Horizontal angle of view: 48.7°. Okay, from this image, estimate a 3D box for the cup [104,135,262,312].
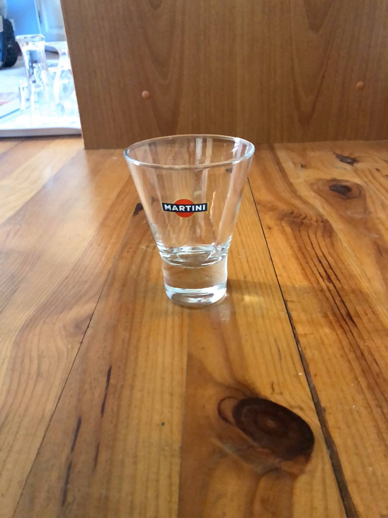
[{"bbox_3d":[0.000,-0.030,0.312,0.091,0.097,0.089,-2,29,1],"label":"cup"}]
